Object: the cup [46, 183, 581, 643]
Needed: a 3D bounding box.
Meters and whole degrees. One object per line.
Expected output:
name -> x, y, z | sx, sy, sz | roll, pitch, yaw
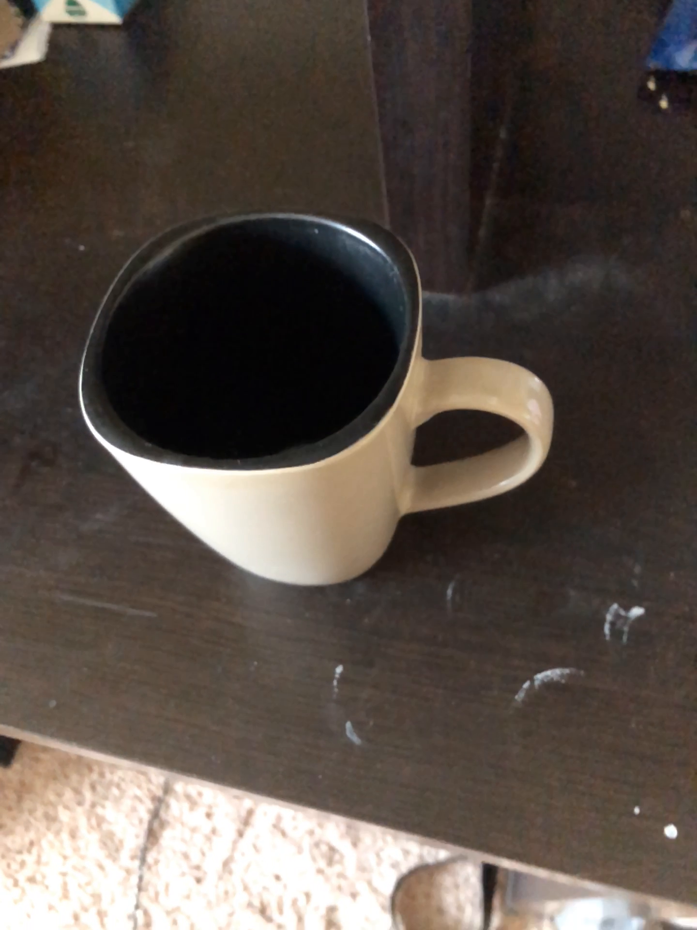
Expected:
cup -> 0.001, -0.013, 0.259 | 0.130, 0.110, 0.100 | 5, 62, 10
